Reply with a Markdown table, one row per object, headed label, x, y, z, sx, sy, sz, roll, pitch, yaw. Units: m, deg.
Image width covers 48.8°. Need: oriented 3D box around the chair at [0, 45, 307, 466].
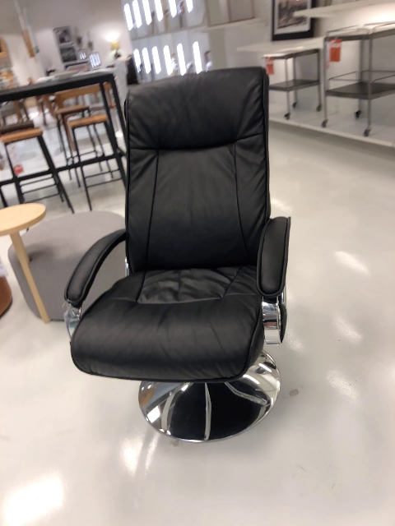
| label | x | y | z | sx | sy | sz | roll | pitch | yaw |
| --- | --- | --- | --- | --- | --- | --- | --- | --- | --- |
| chair | -0.058 | -0.070 | 1.409 | 0.730 | 0.992 | 0.806 | -1 | 29 | 17 |
